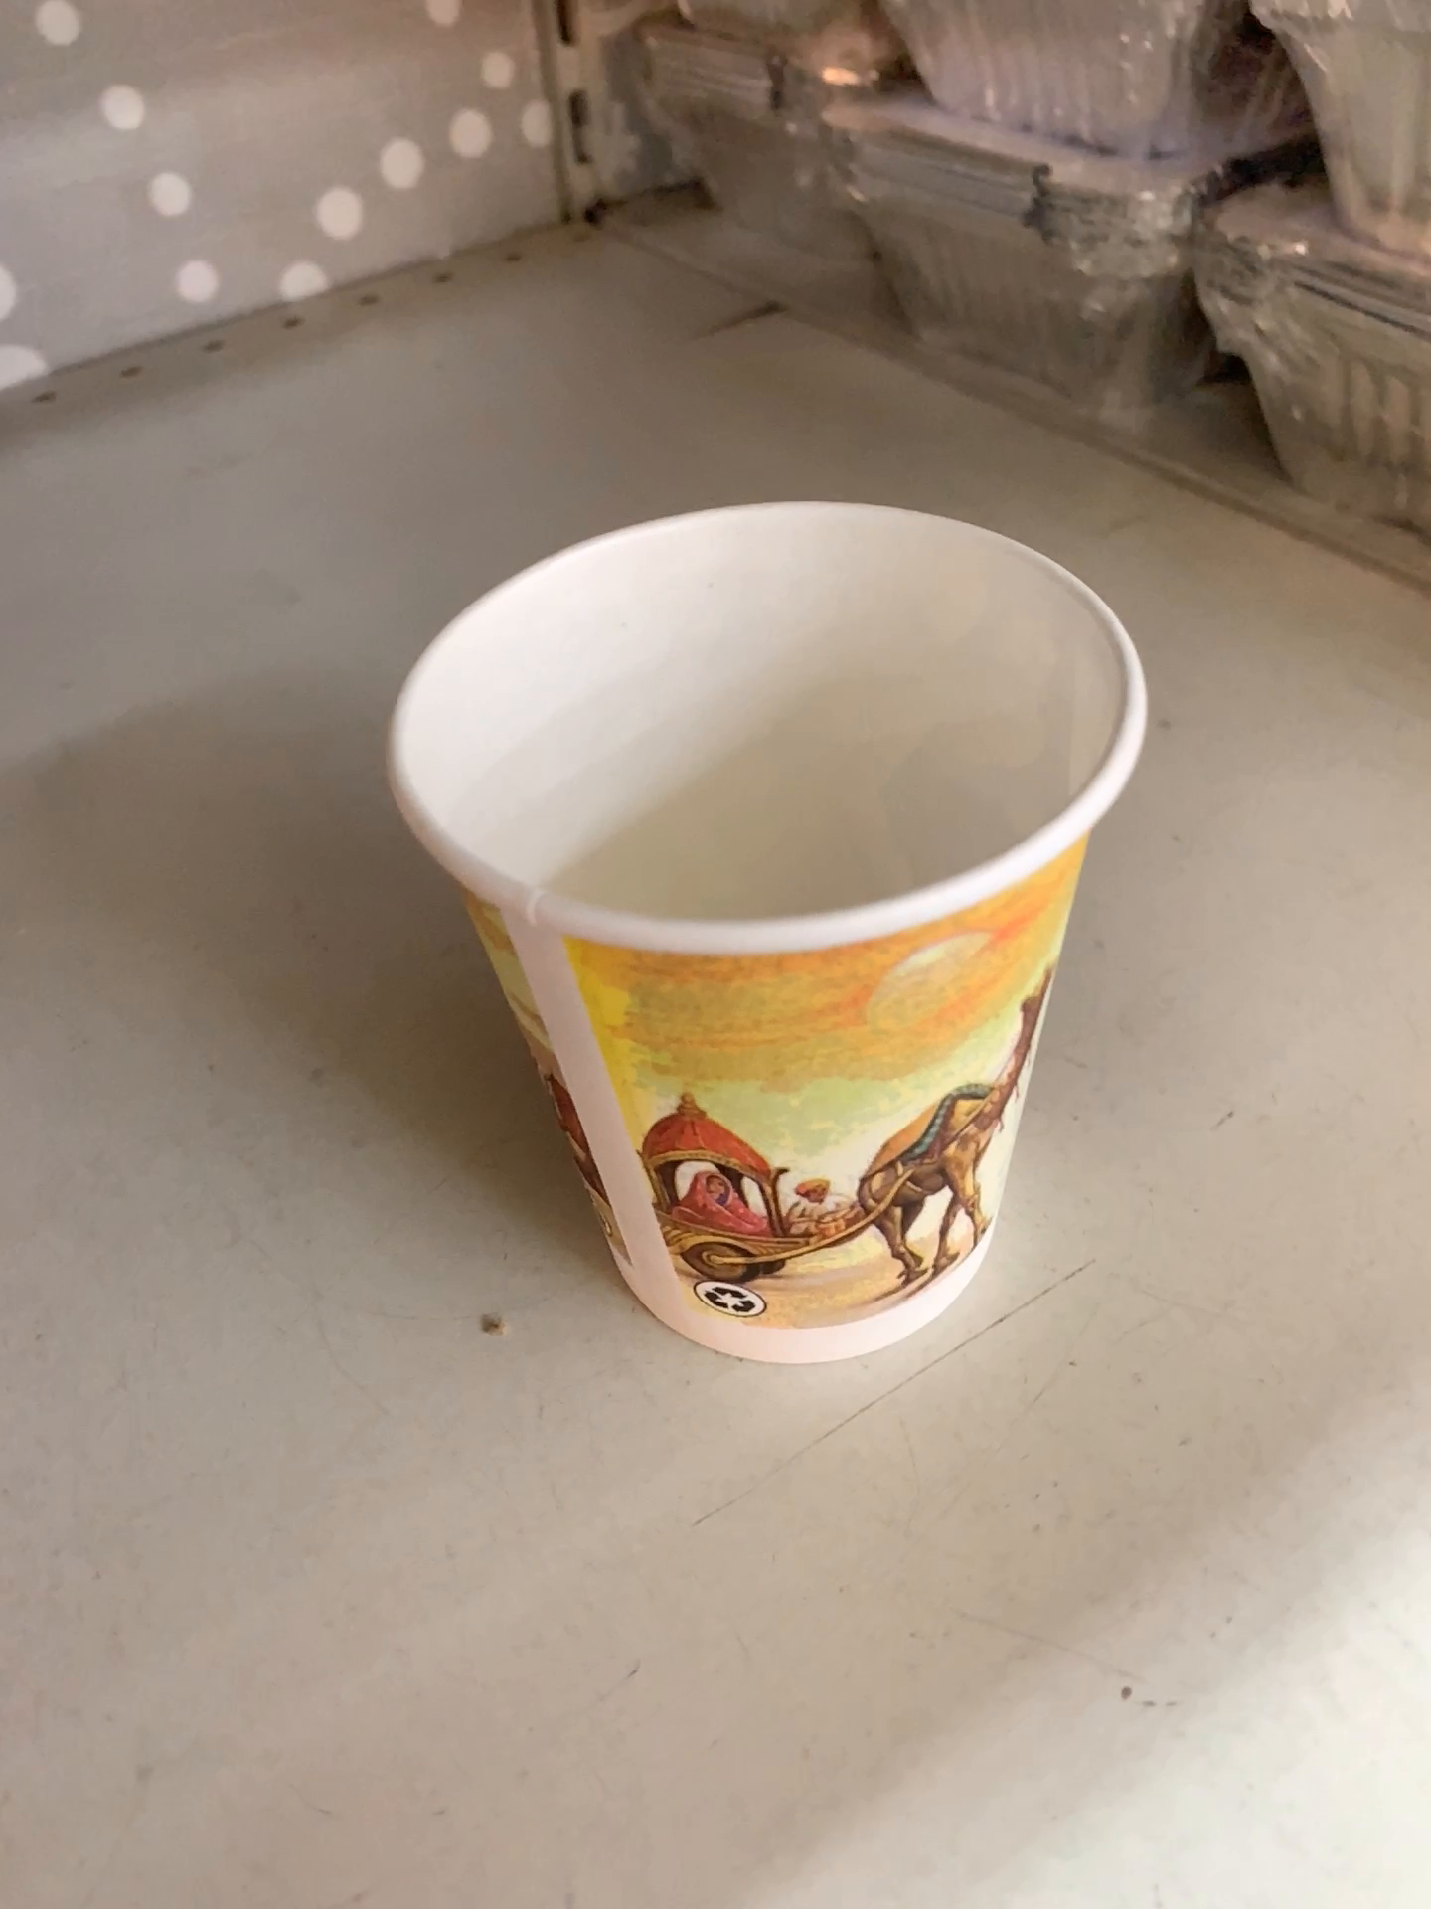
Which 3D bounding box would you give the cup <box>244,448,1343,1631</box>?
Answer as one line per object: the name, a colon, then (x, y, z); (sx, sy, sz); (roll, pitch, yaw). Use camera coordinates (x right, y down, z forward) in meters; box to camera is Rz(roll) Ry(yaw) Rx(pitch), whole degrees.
cup: (0.007, 0.005, 0.161); (0.070, 0.079, 0.070); (-3, 42, 3)
